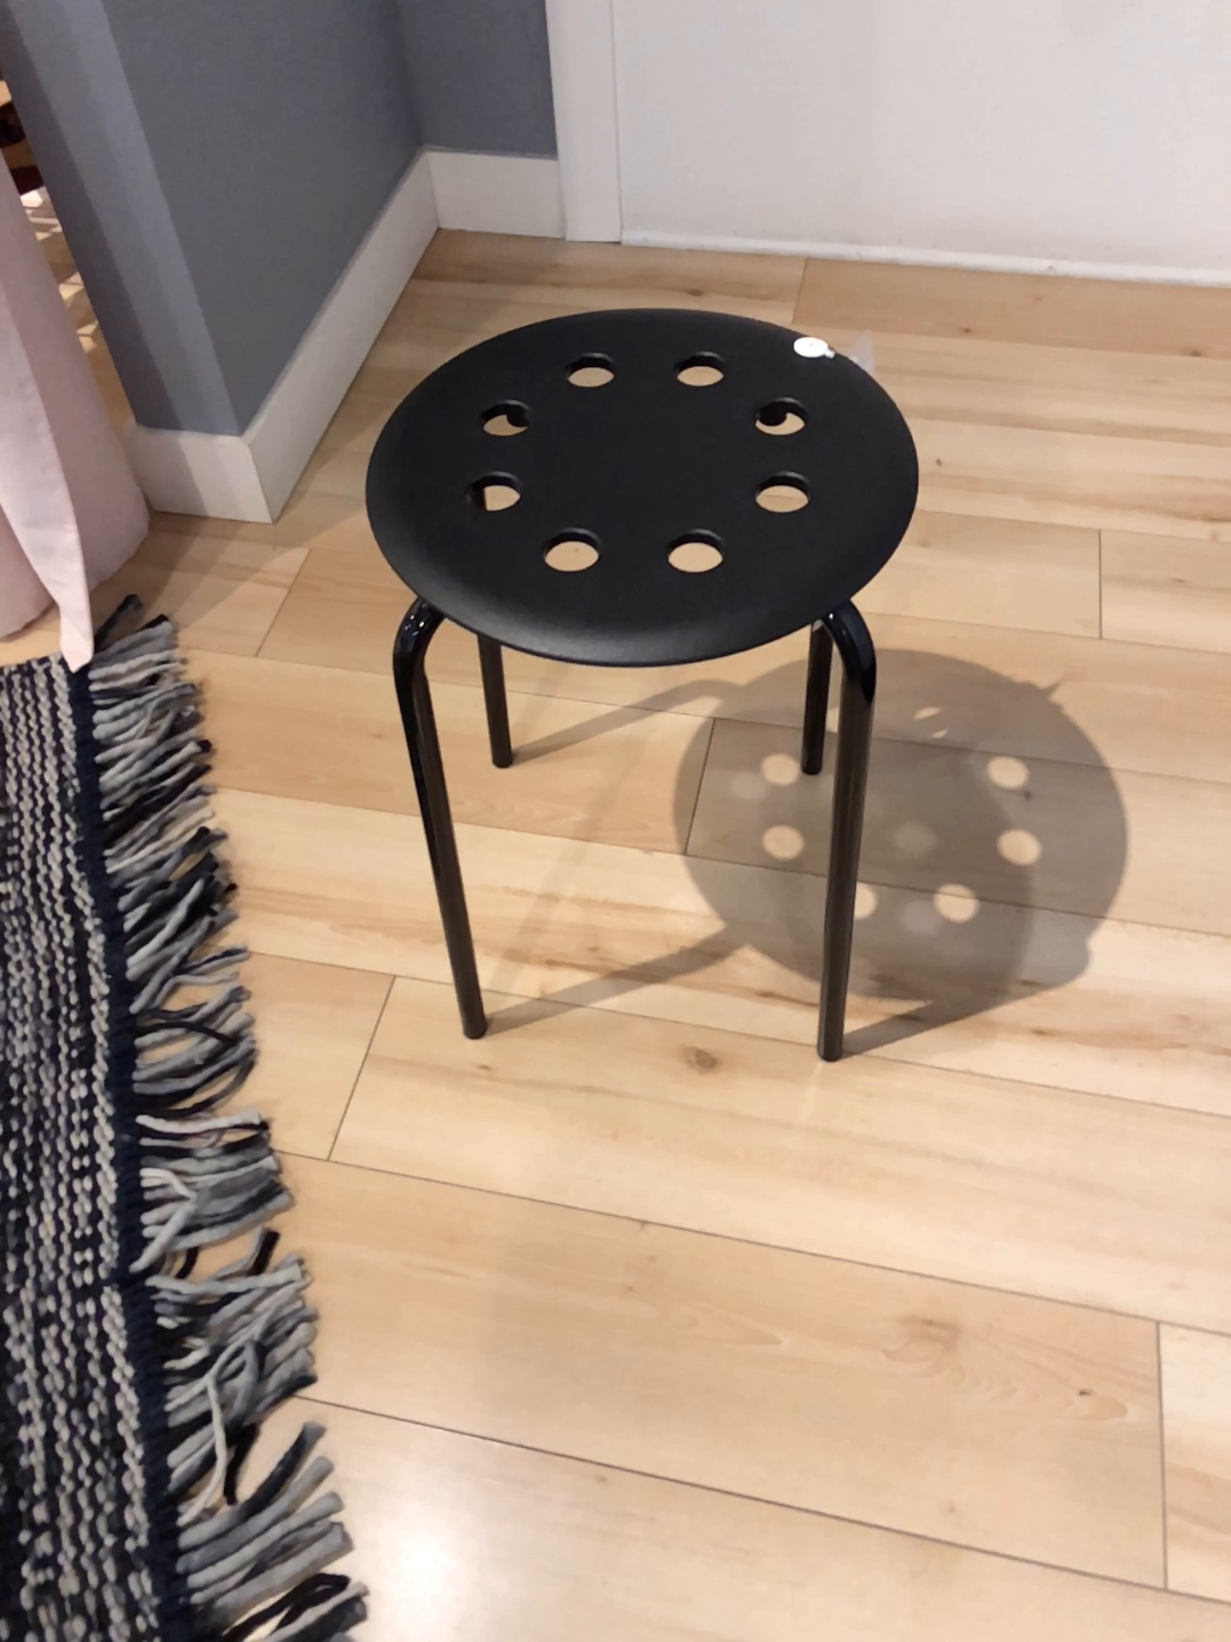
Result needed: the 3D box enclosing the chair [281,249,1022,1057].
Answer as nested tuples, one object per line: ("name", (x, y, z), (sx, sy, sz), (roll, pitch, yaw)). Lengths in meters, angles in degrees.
("chair", (0.038, -0.110, 0.950), (0.370, 0.399, 0.381), (2, 52, 5))
